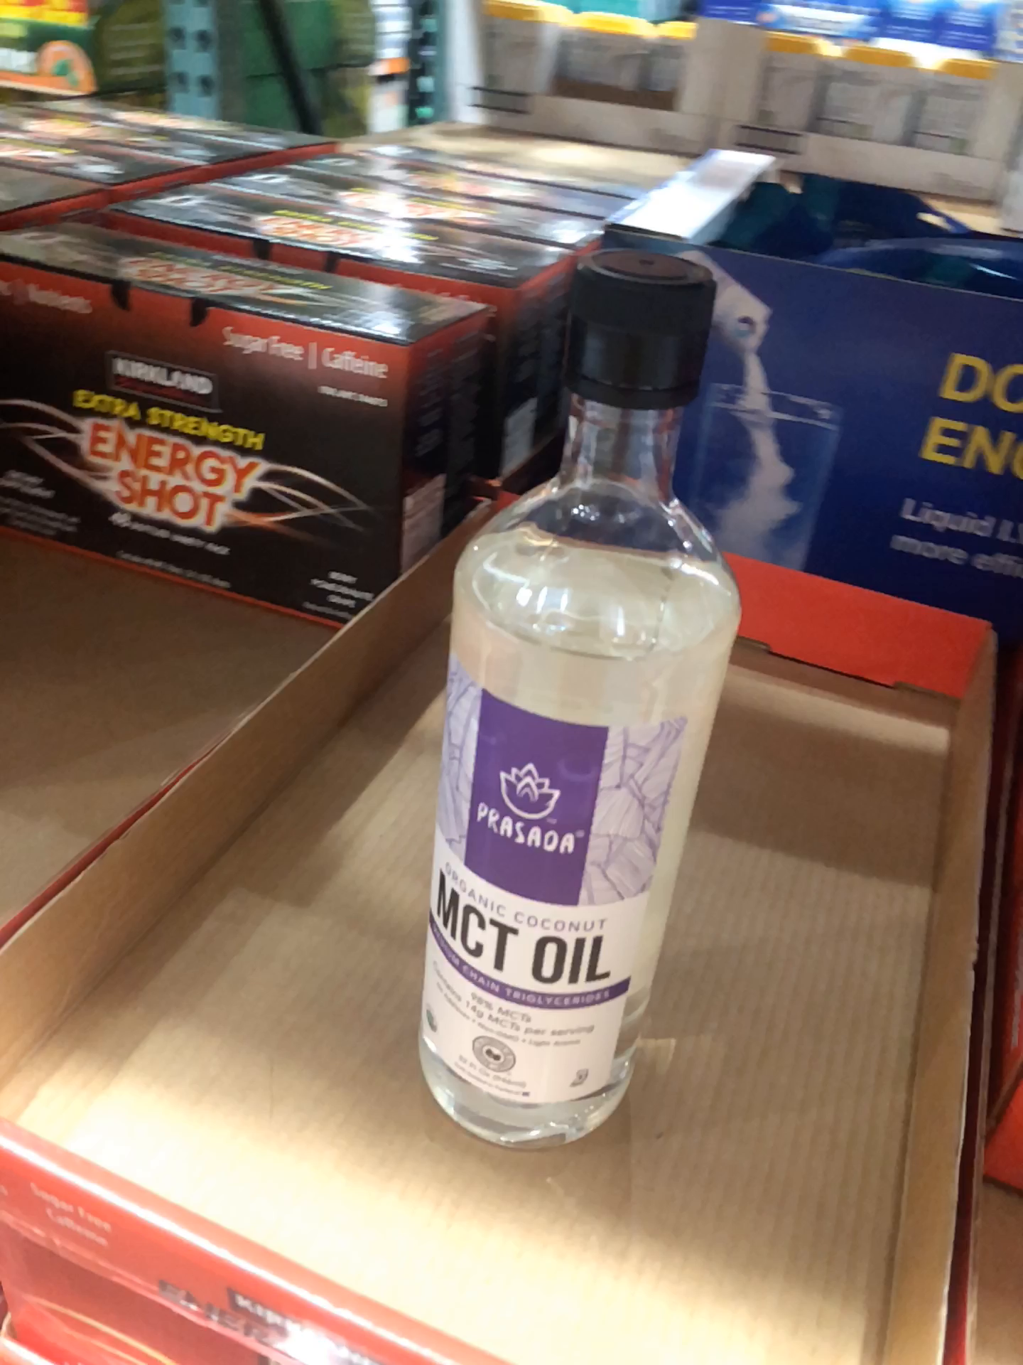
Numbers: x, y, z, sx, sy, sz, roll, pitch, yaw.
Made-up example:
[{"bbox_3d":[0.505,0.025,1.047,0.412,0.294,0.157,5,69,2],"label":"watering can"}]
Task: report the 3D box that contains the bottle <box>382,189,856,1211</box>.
[{"bbox_3d":[0.020,0.021,0.333,0.077,0.290,0.080,5,33,-3],"label":"bottle"}]
